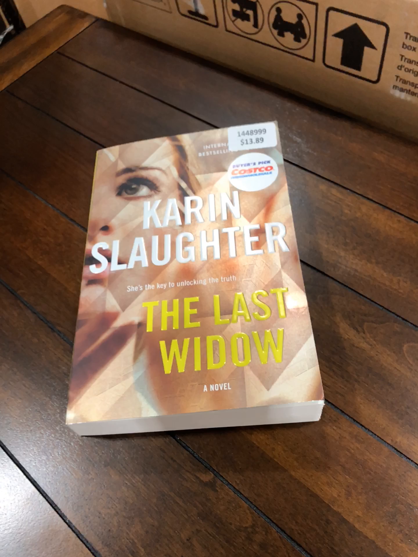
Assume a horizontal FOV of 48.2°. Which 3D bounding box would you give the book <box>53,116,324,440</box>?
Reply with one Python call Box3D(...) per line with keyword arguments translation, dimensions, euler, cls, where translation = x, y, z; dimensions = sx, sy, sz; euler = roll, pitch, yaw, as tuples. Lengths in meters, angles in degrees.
Box3D(translation=(-0.014, -0.012, 0.338), dimensions=(0.154, 0.042, 0.230), euler=(-7, 58, 8), cls="book")
